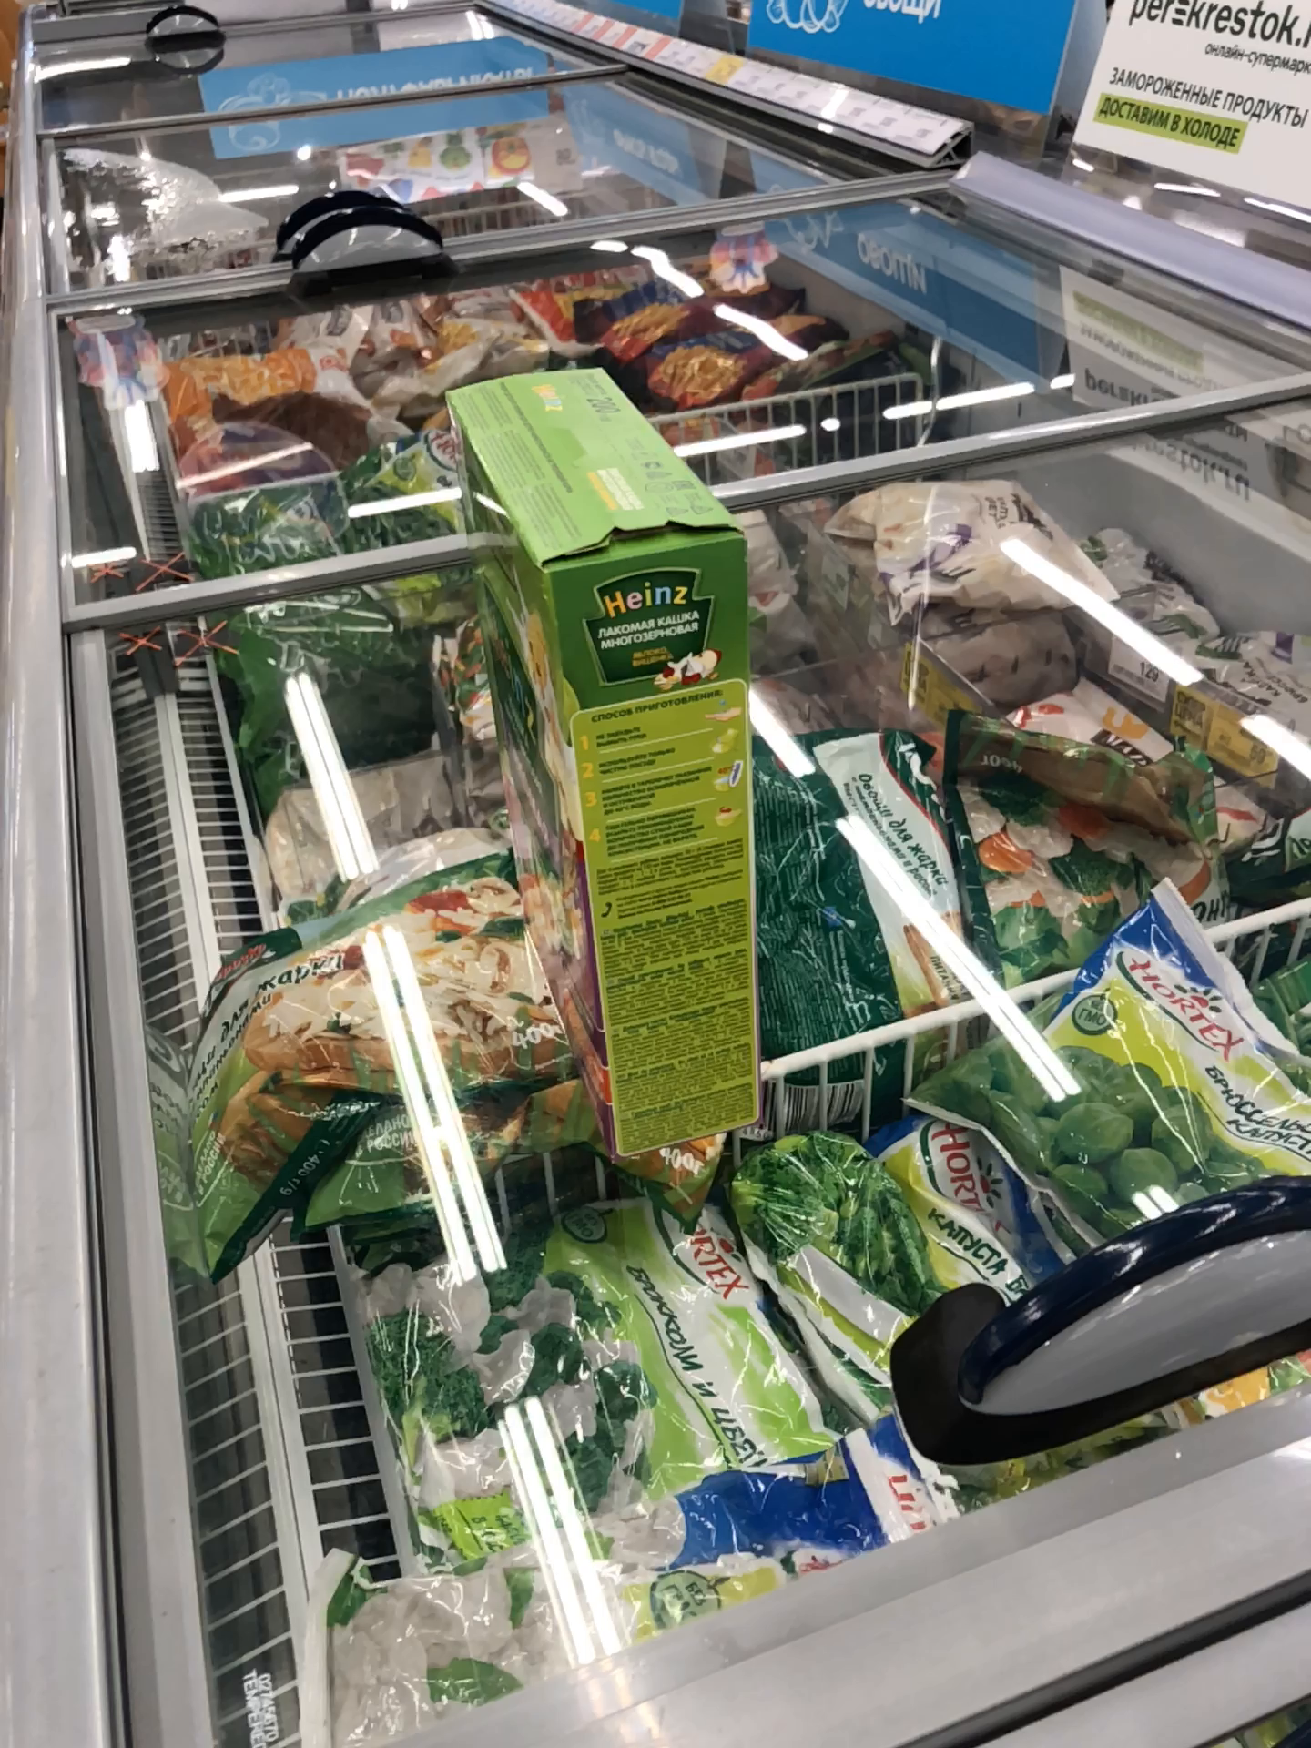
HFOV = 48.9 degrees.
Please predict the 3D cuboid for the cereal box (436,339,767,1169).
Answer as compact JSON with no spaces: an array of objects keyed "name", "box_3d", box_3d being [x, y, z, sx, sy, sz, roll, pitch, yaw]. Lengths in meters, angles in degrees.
[{"name":"cereal box","box_3d":[-0.015,-0.036,0.432,0.050,0.199,0.141,-12,37,-11]}]
